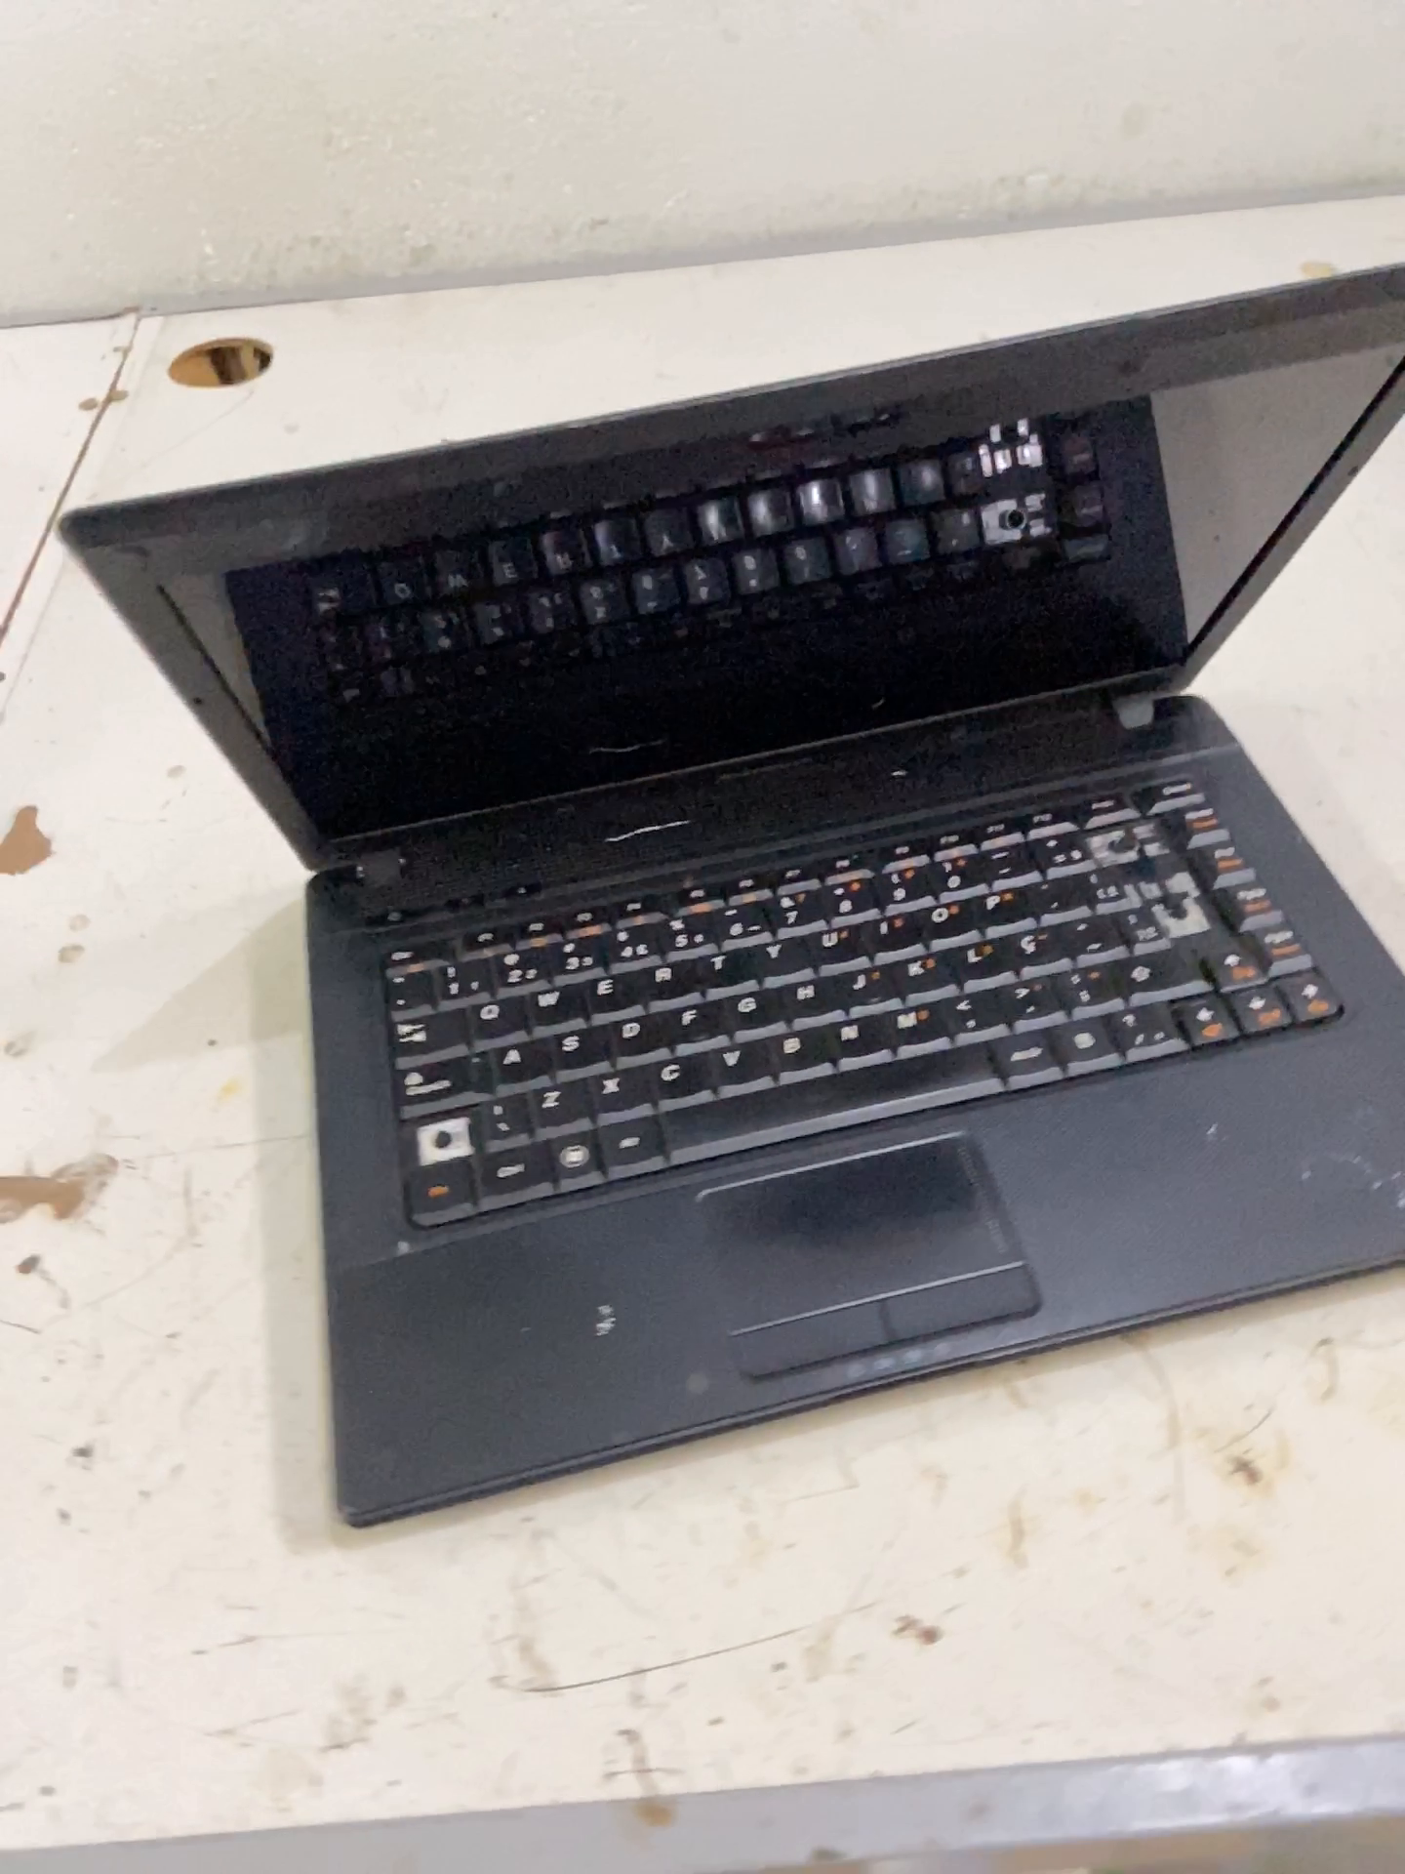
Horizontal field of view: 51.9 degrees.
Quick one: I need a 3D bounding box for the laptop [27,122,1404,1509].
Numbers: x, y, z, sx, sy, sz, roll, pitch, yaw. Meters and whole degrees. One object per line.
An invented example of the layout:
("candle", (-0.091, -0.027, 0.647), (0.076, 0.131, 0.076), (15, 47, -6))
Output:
("laptop", (0.043, -0.041, 0.377), (0.333, 0.194, 0.224), (-12, 49, -6))
